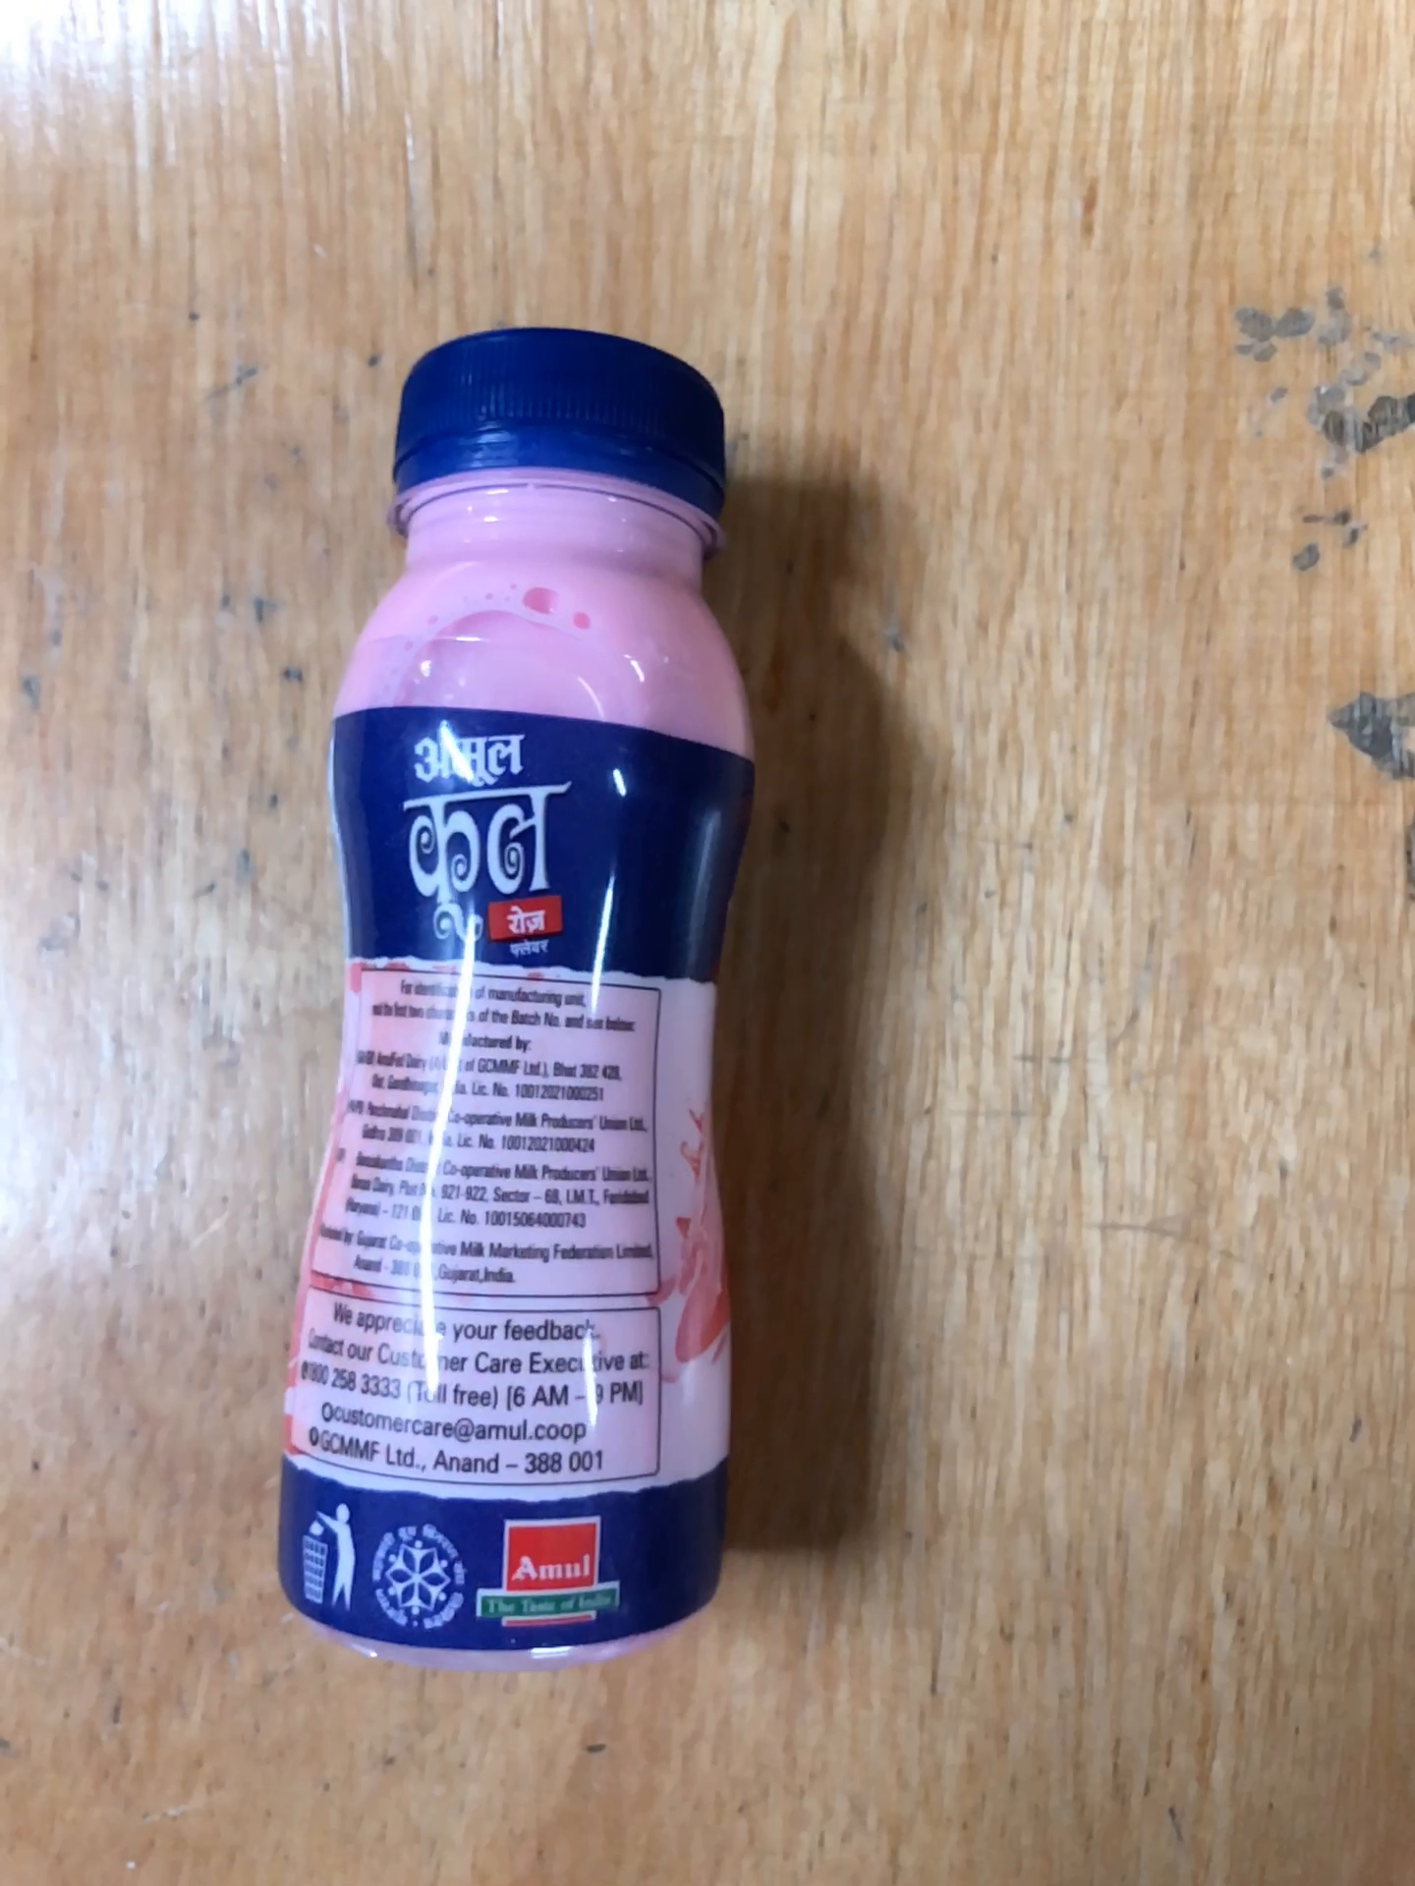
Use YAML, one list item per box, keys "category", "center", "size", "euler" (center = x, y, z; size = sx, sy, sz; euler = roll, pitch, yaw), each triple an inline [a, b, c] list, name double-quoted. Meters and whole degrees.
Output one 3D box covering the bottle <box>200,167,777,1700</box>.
- category: "bottle"
  center: [-0.021, -0.002, 0.179]
  size: [0.050, 0.040, 0.150]
  euler: [1, 87, 7]
